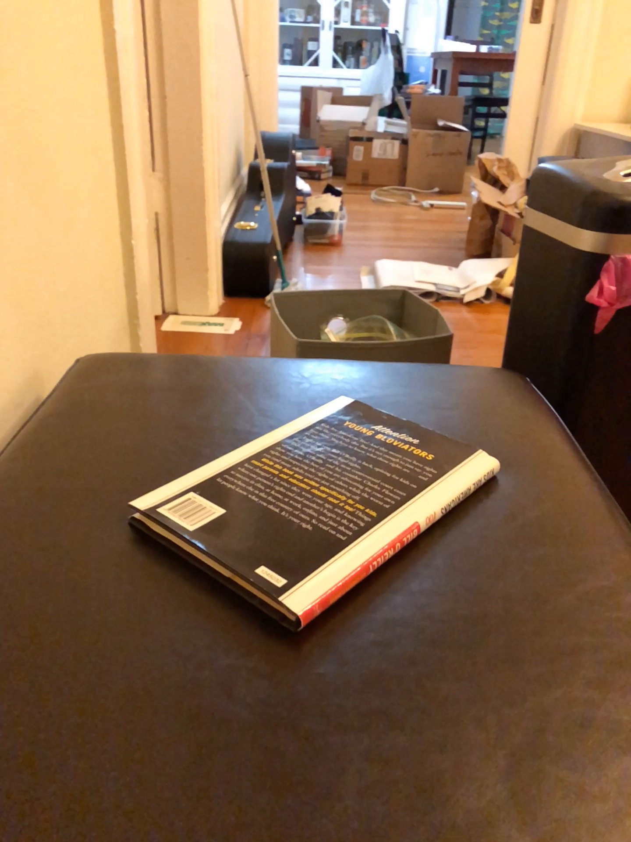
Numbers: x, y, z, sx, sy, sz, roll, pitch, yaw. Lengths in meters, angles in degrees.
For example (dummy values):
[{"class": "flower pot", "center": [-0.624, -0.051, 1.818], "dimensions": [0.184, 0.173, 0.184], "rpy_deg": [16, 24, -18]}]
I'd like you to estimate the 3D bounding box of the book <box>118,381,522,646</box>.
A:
[{"class": "book", "center": [0.013, 0.039, 0.467], "dimensions": [0.160, 0.020, 0.231], "rpy_deg": [22, 33, 34]}]
